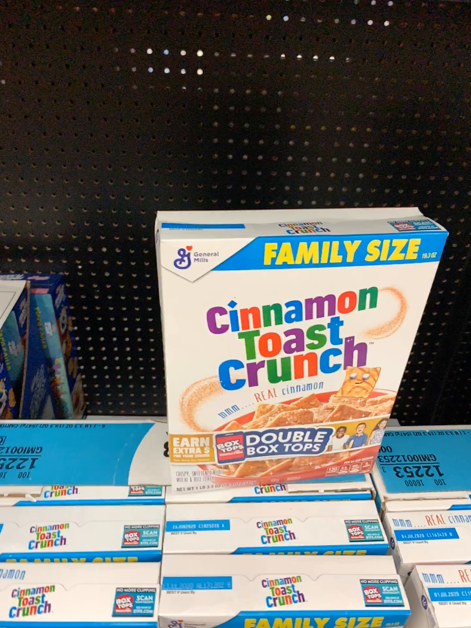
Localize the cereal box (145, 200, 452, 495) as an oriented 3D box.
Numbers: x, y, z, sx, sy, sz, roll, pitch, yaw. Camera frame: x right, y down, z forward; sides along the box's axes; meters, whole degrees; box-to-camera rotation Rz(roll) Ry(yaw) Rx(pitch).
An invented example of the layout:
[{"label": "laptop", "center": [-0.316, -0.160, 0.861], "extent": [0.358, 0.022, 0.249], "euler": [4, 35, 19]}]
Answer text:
[{"label": "cereal box", "center": [0.044, 0.045, 0.475], "extent": [0.240, 0.298, 0.060], "euler": [-3, 34, -8]}]
